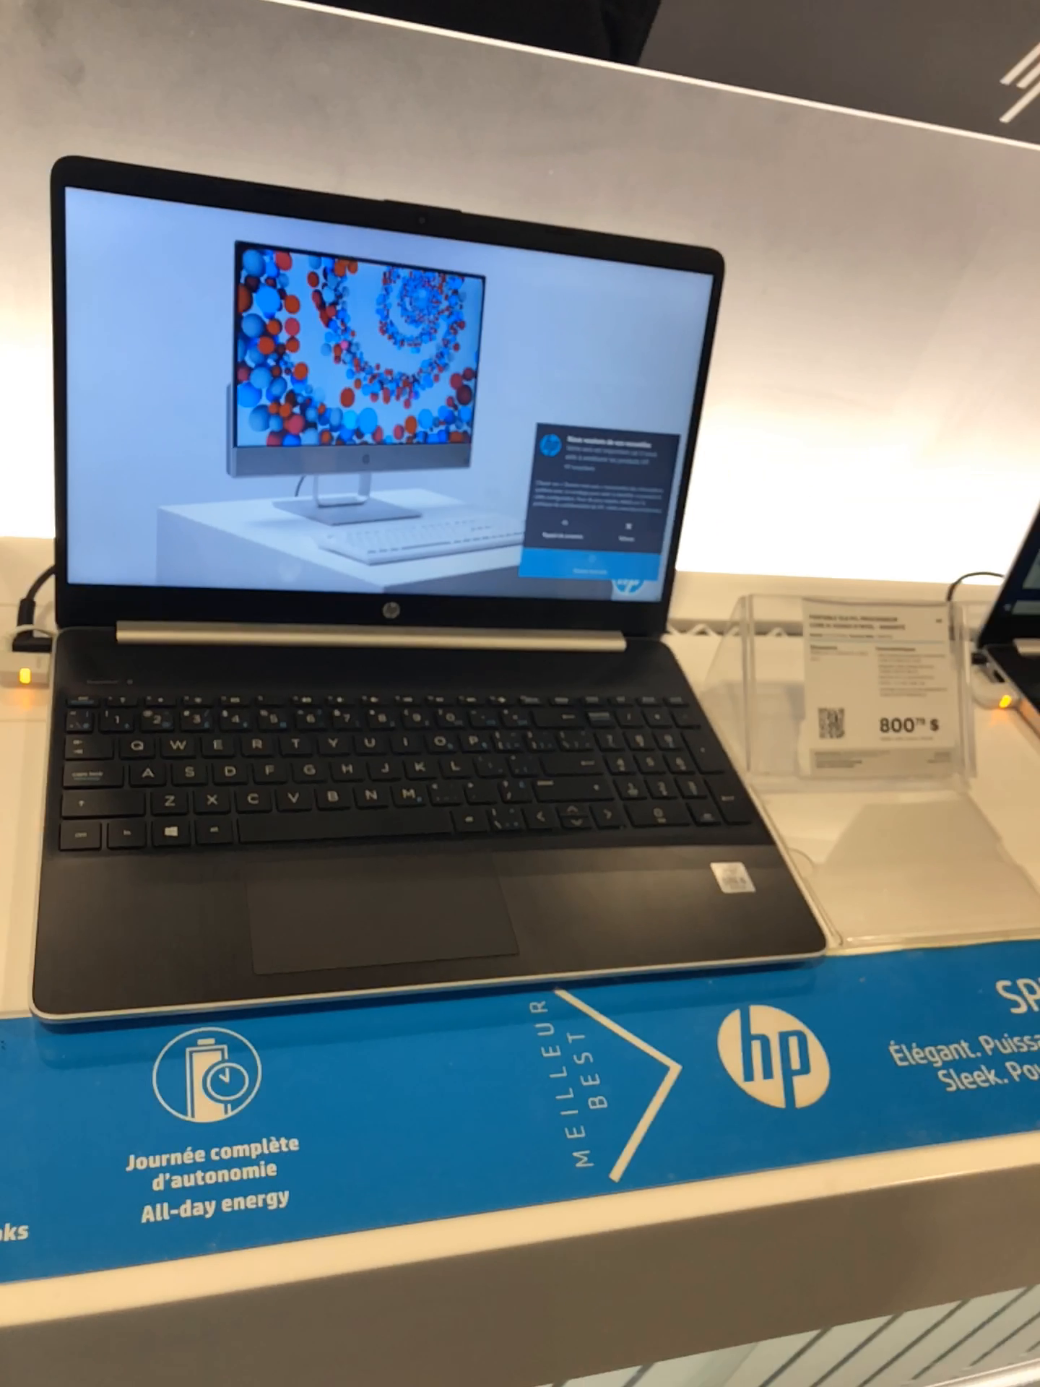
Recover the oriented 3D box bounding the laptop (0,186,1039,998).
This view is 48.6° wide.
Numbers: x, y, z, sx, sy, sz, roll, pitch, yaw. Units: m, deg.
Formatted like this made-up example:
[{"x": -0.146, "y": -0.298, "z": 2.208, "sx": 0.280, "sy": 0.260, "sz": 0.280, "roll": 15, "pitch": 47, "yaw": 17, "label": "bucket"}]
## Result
[{"x": -0.035, "y": -0.060, "z": 0.531, "sx": 0.336, "sy": 0.206, "sz": 0.317, "roll": 1, "pitch": 38, "yaw": -18, "label": "laptop"}]
